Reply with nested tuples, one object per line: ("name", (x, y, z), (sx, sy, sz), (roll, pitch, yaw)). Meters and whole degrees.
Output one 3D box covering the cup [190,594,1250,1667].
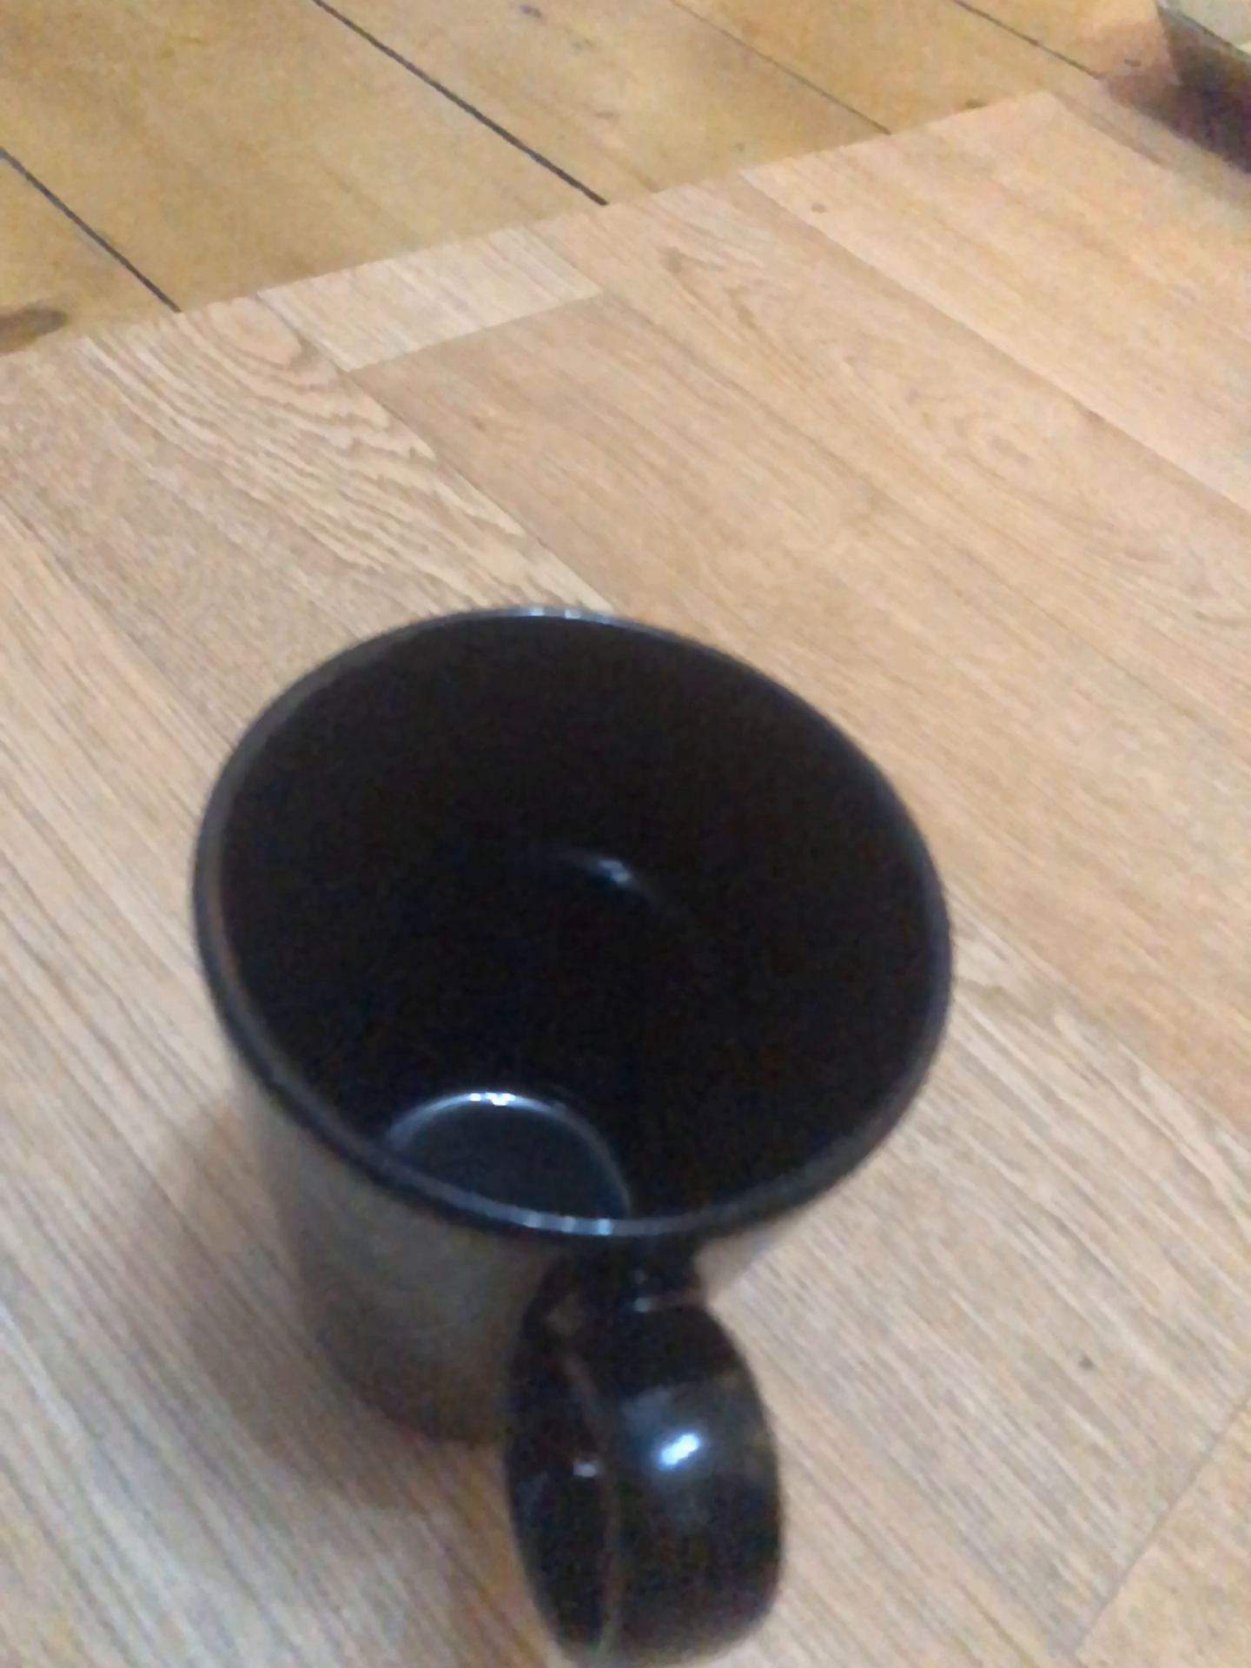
("cup", (-0.004, 0.044, 0.174), (0.090, 0.090, 0.120), (-3, 51, -16))
